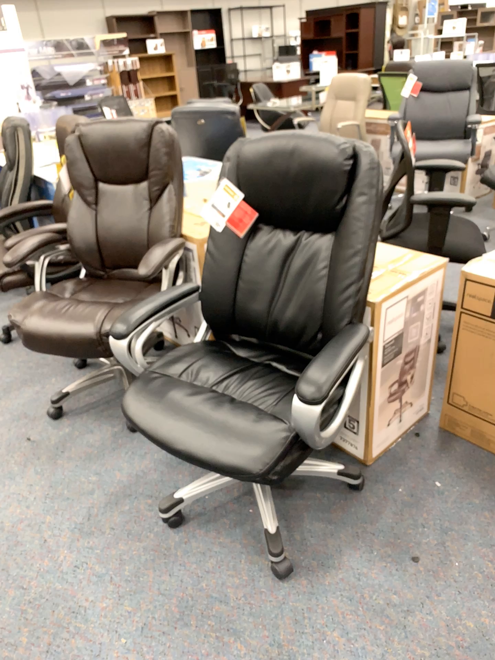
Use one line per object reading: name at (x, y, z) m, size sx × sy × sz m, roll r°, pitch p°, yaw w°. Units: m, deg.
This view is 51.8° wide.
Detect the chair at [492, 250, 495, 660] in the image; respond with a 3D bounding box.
chair at (0.870, 0.527, 0.541) m, size 0.839 × 0.926 × 0.666 m, roll 17°, pitch 36°, yaw 34°

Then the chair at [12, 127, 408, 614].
chair at (-0.031, 0.041, 1.456) m, size 0.675 × 1.056 × 0.659 m, roll 16°, pitch 35°, yaw 33°

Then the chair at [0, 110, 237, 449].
chair at (-0.593, -0.263, 2.071) m, size 0.755 × 1.046 × 0.790 m, roll 9°, pitch 32°, yaw 23°
